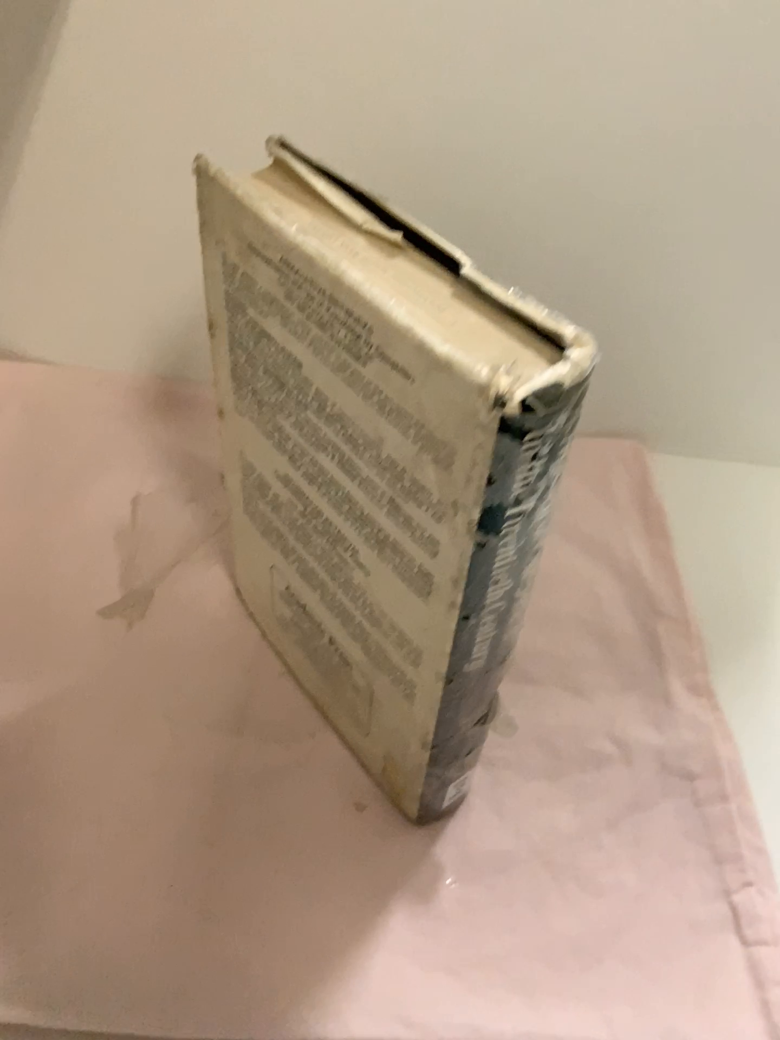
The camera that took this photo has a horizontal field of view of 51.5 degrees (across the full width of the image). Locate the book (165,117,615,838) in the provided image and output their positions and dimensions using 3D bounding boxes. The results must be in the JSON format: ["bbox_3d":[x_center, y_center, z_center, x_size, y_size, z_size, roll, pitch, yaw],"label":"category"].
[{"bbox_3d":[-0.017,-0.002,0.328,0.042,0.247,0.168,-26,54,-27],"label":"book"}]
